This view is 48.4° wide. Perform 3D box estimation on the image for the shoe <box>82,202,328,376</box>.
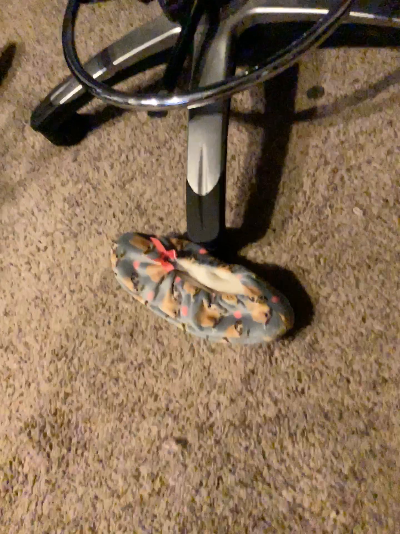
[{"bbox_3d":[0.000,0.017,0.529,0.260,0.070,0.120,18,75,29],"label":"shoe"}]
